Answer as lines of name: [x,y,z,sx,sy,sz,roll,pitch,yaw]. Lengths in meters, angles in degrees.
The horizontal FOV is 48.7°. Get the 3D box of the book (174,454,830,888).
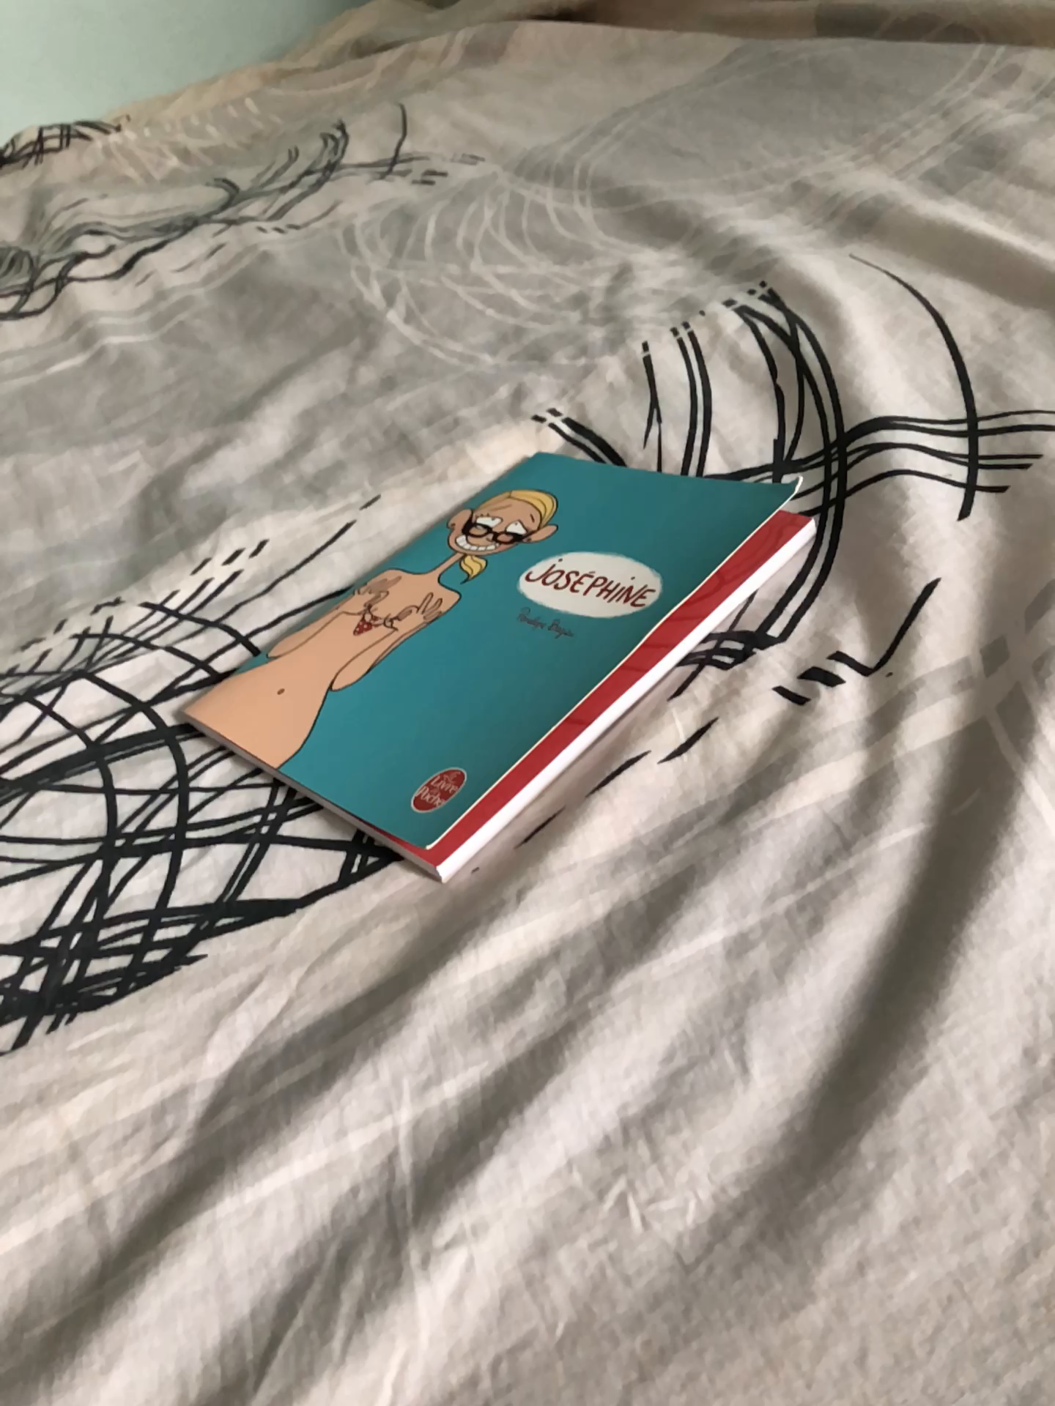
book: [-0.010,-0.028,0.404,0.188,0.014,0.144,-40,38,-26]
